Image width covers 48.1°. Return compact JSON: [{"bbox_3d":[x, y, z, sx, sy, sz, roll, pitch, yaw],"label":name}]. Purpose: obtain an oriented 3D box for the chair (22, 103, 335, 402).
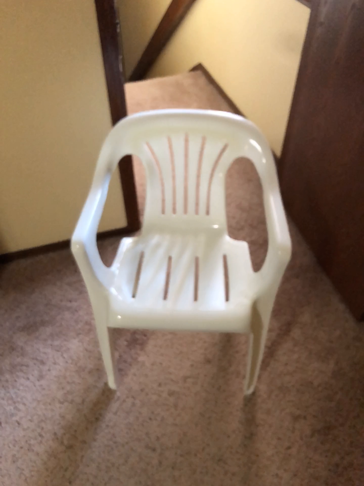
[{"bbox_3d":[0.000,0.070,1.199,0.580,0.769,0.471,2,47,2],"label":"chair"}]
